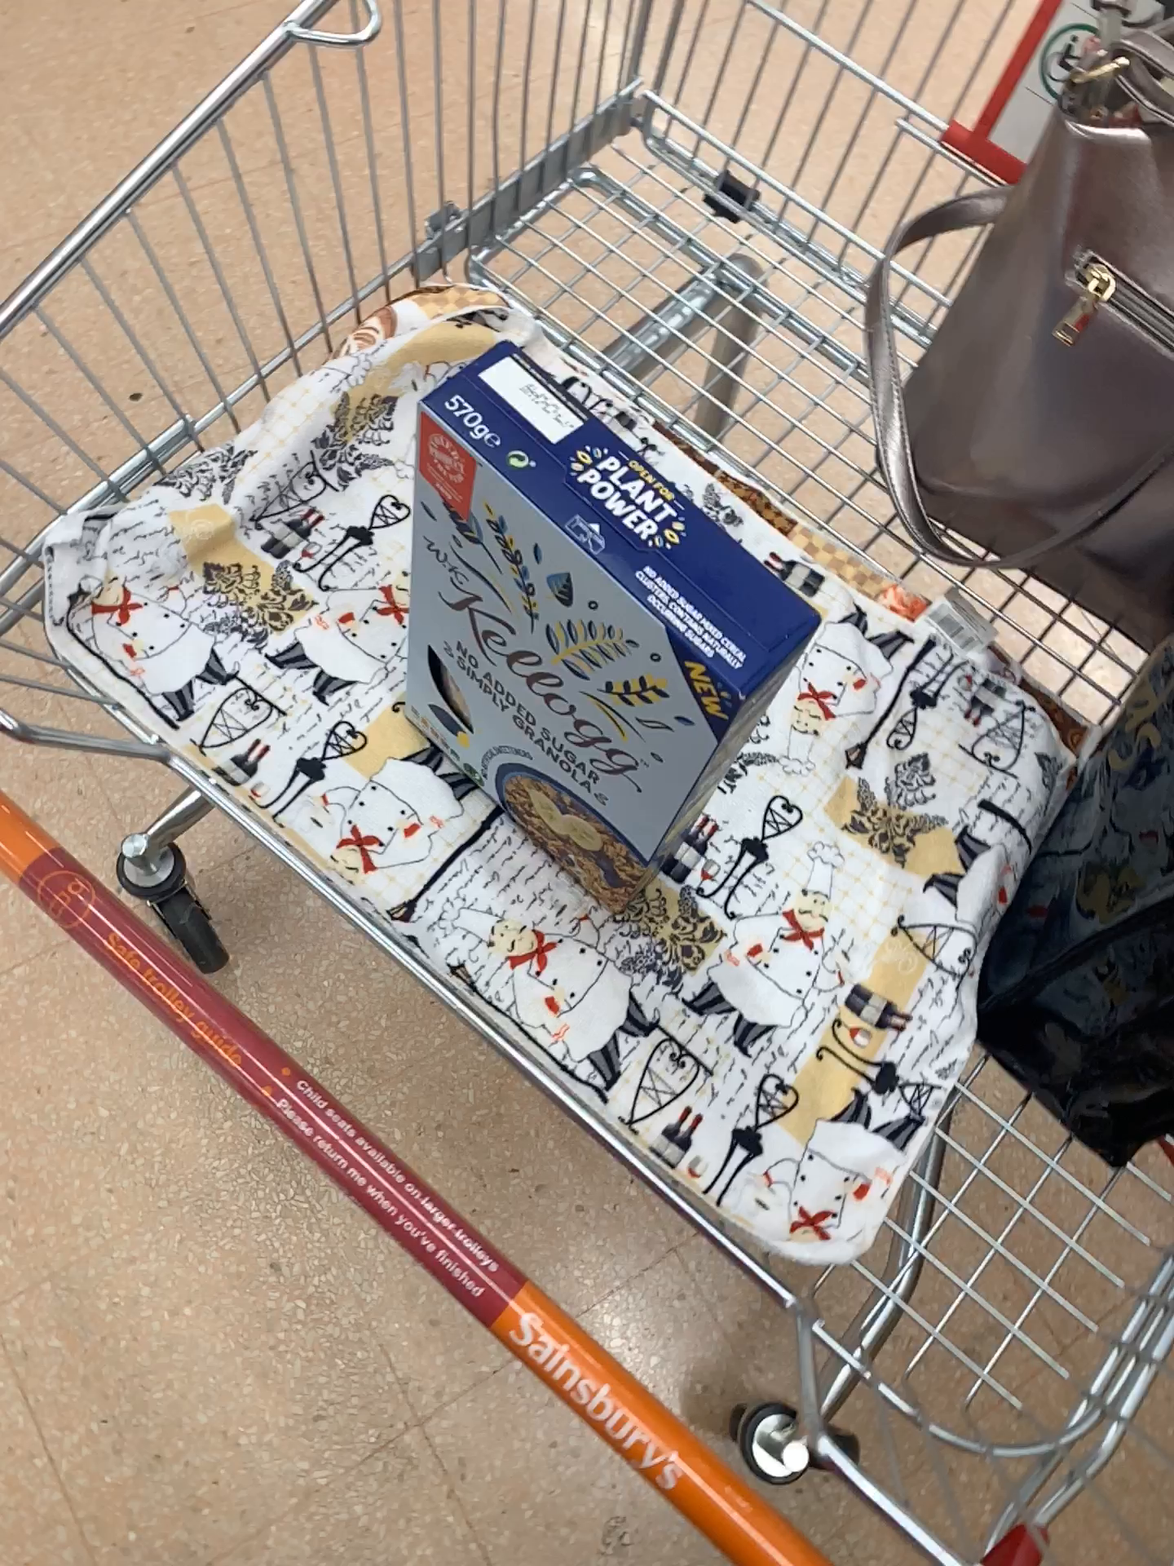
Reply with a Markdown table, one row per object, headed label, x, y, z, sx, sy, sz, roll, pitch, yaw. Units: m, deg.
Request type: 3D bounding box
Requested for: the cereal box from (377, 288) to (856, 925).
| label | x | y | z | sx | sy | sz | roll | pitch | yaw |
| --- | --- | --- | --- | --- | --- | --- | --- | --- | --- |
| cereal box | -0.010 | -0.053 | 0.514 | 0.170 | 0.249 | 0.050 | 44 | 65 | 10 |
